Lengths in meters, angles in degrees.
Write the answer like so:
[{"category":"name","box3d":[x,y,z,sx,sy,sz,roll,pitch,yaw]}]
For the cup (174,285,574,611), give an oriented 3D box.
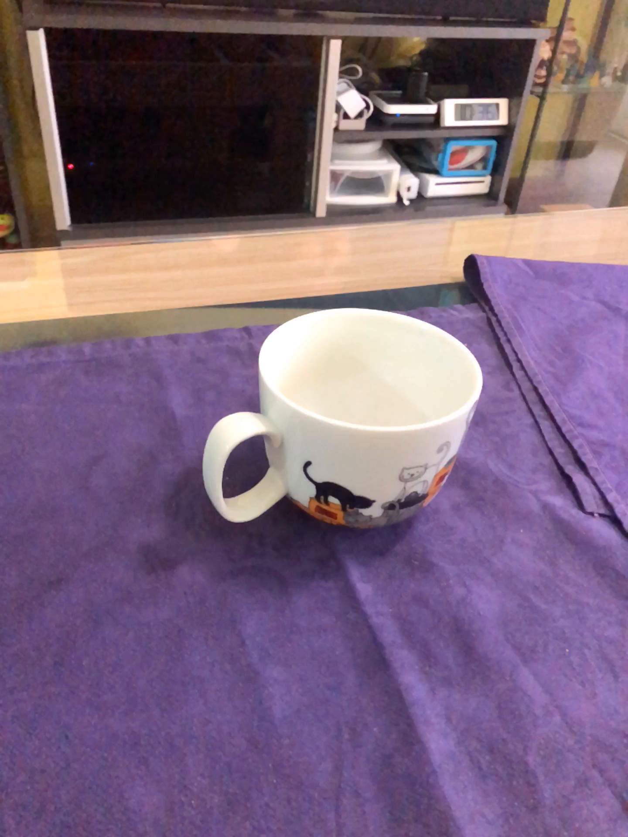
[{"category":"cup","box3d":[0.023,0.004,0.311,0.140,0.070,0.090,-17,42,-26]}]
